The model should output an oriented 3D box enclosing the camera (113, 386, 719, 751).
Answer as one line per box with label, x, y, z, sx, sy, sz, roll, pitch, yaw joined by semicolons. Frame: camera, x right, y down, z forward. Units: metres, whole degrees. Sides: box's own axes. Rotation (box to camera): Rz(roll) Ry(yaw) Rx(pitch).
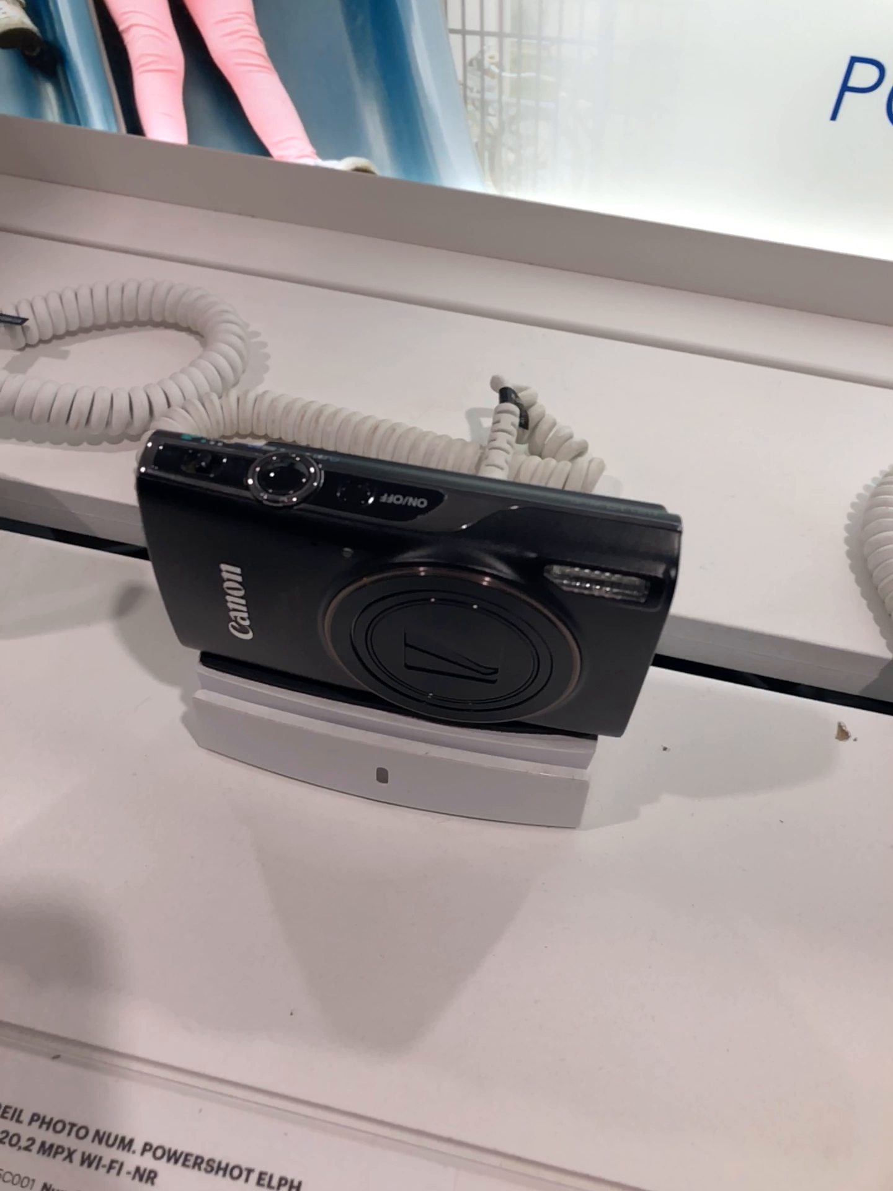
camera;-0.006;-0.005;0.211;0.113;0.057;0.026;10;48;5
